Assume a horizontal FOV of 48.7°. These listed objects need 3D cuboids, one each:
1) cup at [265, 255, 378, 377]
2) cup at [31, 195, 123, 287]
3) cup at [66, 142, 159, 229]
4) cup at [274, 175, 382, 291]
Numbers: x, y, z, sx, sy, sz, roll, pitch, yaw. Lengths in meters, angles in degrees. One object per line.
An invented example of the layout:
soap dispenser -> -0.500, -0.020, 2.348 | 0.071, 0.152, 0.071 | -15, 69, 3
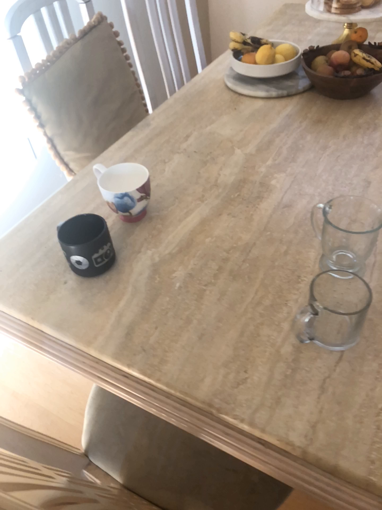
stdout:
cup -> 0.196, 0.092, 0.651 | 0.130, 0.109, 0.090 | -28, 47, -20
cup -> -0.222, -0.029, 0.830 | 0.130, 0.109, 0.091 | 28, 54, 31
cup -> -0.170, -0.155, 0.920 | 0.170, 0.099, 0.101 | 32, 56, 34
cup -> 0.243, -0.043, 0.742 | 0.111, 0.109, 0.150 | -36, 51, -26
